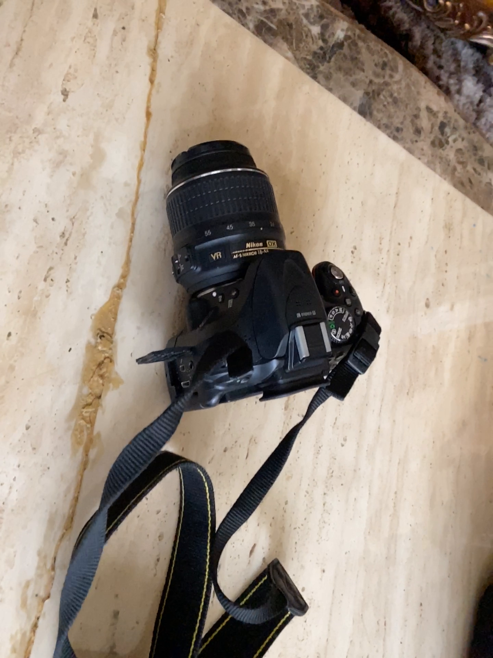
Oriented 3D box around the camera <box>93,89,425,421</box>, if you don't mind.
[{"bbox_3d":[0.007,-0.039,0.321,0.152,0.100,0.159,-10,87,-34],"label":"camera"}]
